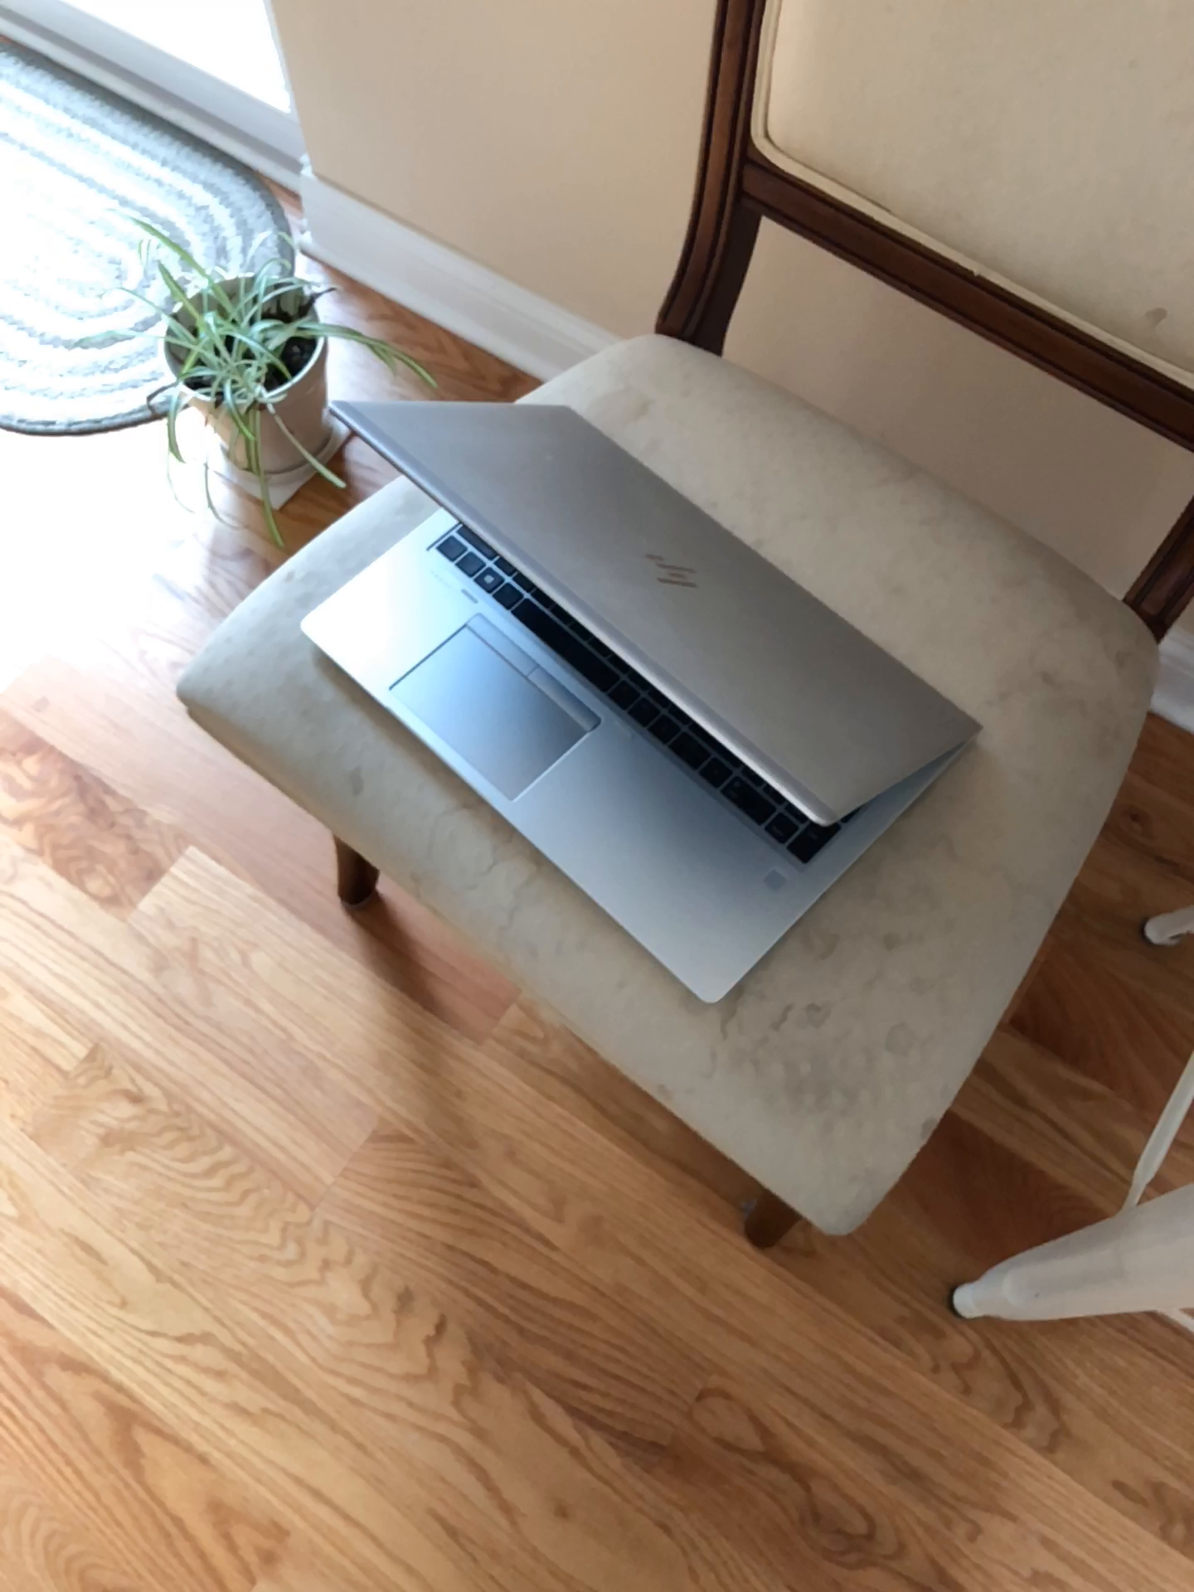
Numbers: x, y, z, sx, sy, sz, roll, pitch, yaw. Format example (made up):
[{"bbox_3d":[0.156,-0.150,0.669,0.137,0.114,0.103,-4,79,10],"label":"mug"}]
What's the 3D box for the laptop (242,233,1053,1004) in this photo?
[{"bbox_3d":[0.021,-0.109,0.777,0.366,0.159,0.244,42,73,18],"label":"laptop"}]
